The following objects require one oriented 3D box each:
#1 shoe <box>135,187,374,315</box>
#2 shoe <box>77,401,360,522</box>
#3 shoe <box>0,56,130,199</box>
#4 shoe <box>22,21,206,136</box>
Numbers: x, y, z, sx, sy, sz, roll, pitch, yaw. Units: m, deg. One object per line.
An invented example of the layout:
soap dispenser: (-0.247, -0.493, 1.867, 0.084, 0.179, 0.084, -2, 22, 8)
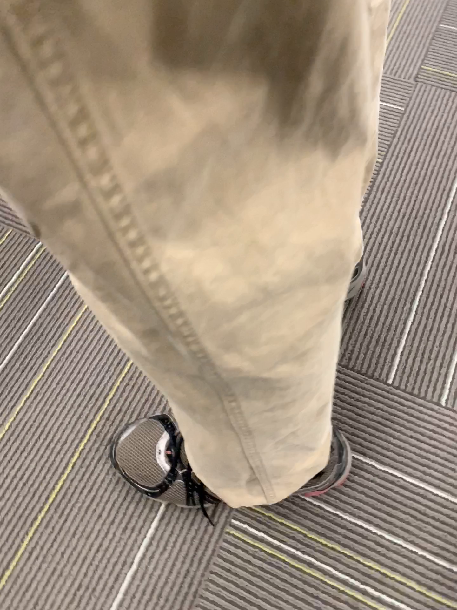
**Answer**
shoe: (0.042, -0.082, 0.709, 0.327, 0.087, 0.134, 7, 64, 6)
shoe: (-0.010, 0.197, 0.591, 0.315, 0.087, 0.131, 0, 63, 3)
shoe: (-0.338, -0.327, 0.853, 0.280, 0.085, 0.138, 32, 69, 17)
shoe: (-0.218, -0.445, 0.918, 0.316, 0.087, 0.131, 18, 66, 12)
